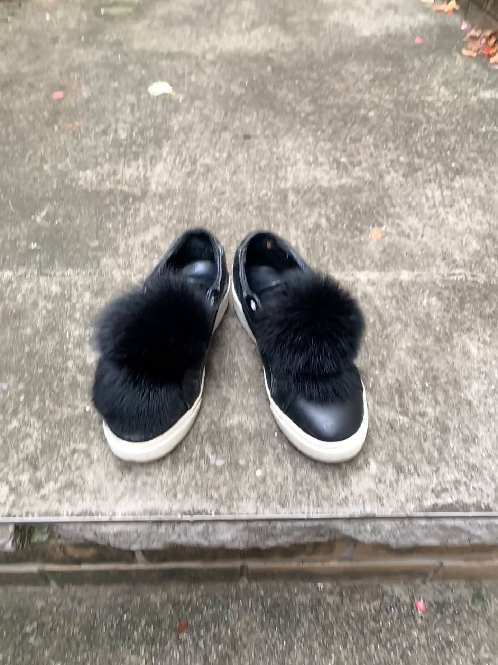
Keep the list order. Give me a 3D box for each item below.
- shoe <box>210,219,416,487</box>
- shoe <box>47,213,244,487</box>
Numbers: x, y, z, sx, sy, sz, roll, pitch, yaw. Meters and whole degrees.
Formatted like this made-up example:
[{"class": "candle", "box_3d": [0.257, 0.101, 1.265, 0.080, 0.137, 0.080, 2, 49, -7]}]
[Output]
[{"class": "shoe", "box_3d": [0.043, 0.005, 0.497, 0.098, 0.097, 0.244, -13, 48, -13]}, {"class": "shoe", "box_3d": [-0.082, 0.001, 0.515, 0.095, 0.097, 0.270, 10, 47, 8]}]
